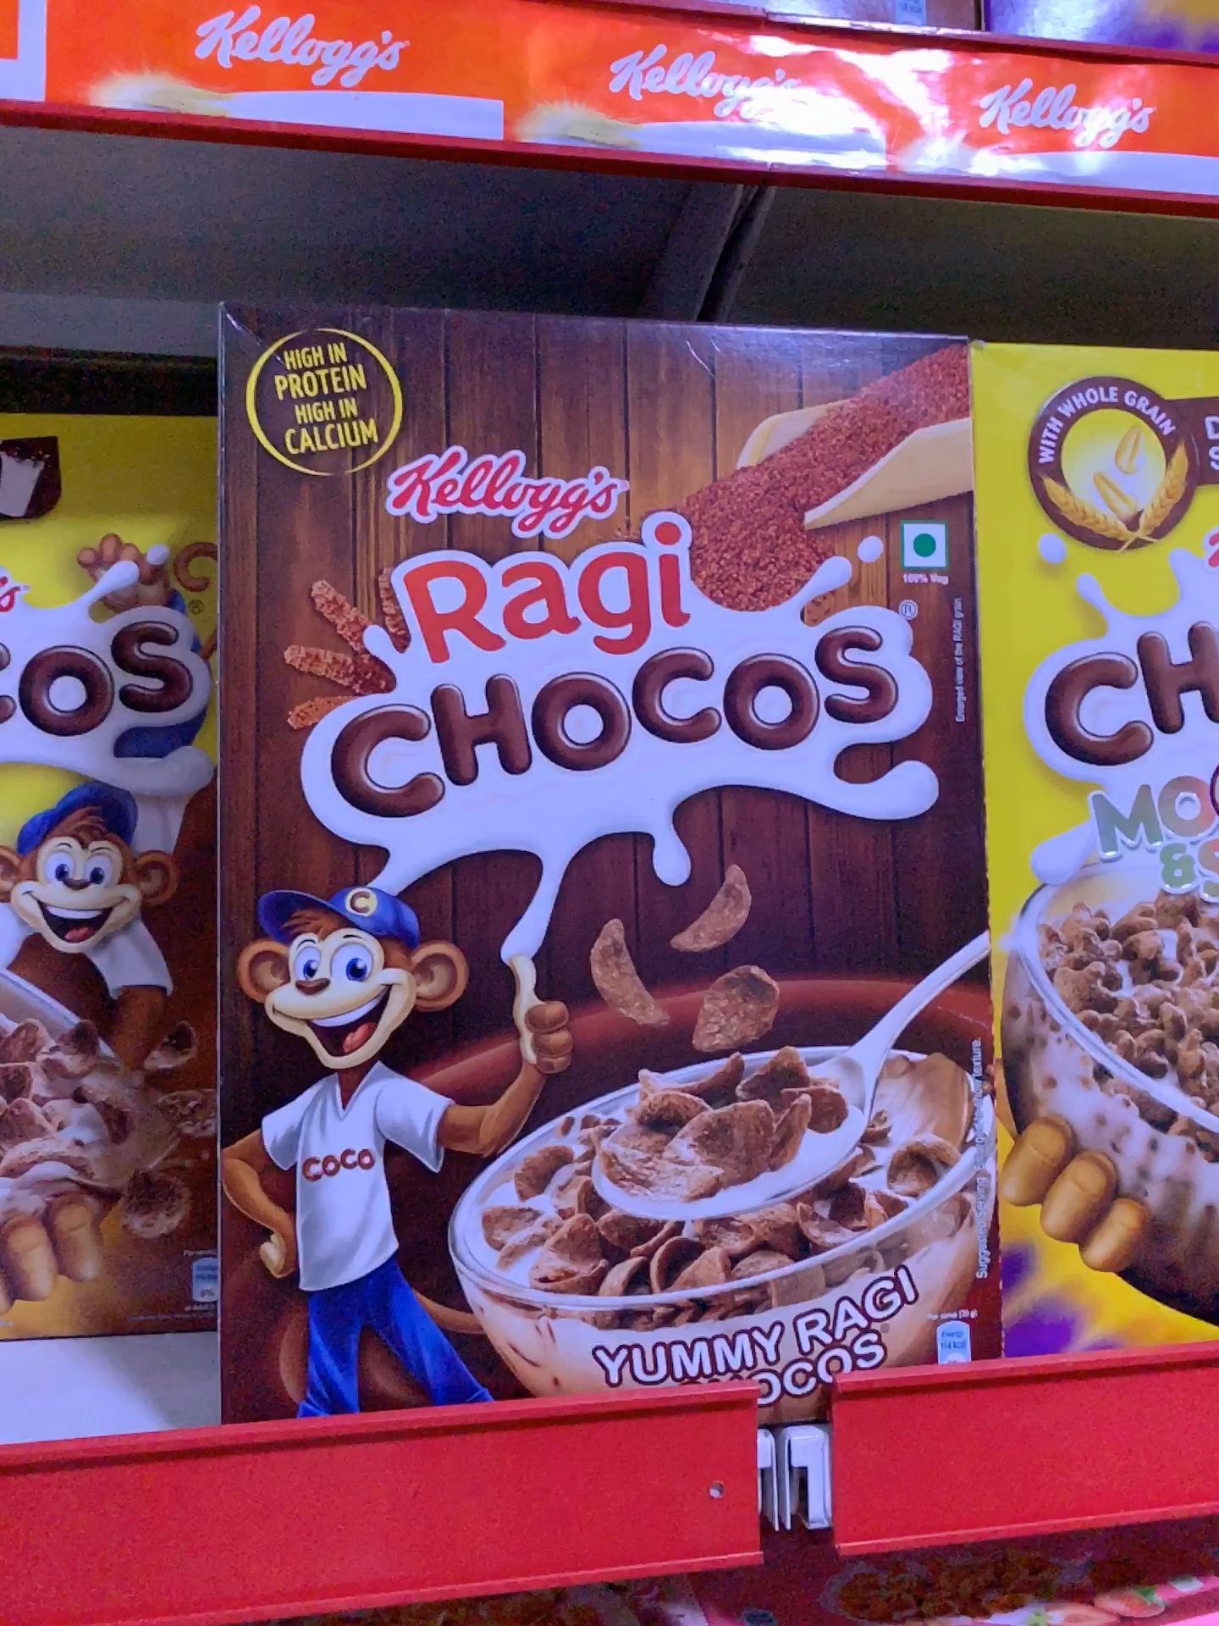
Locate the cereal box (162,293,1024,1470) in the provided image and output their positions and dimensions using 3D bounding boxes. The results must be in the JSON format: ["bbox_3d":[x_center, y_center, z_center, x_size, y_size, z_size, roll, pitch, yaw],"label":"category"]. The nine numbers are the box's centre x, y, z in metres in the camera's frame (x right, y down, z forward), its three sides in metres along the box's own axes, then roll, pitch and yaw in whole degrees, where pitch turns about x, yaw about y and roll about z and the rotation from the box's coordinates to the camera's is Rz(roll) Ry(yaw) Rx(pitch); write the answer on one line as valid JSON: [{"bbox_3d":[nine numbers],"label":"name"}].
[{"bbox_3d":[-0.005,0.011,0.300,0.180,0.240,0.060,-1,-2,-7],"label":"cereal box"}]
